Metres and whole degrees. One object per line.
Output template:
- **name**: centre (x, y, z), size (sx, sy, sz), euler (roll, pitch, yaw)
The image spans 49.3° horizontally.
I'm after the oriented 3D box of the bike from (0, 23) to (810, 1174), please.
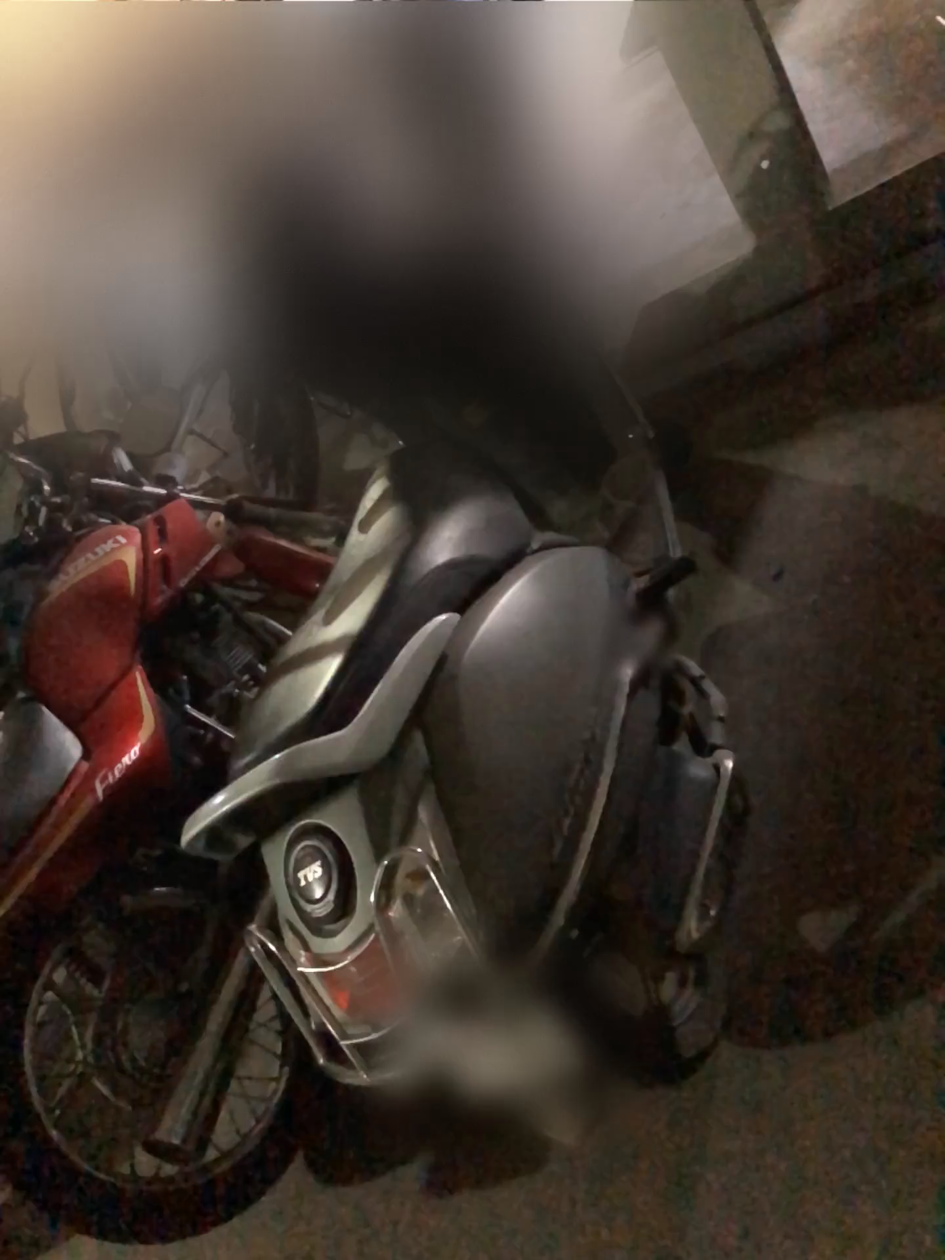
- **bike**: centre (-0.062, -0.082, 1.664), size (0.603, 1.094, 1.386), euler (-23, 38, 26)
